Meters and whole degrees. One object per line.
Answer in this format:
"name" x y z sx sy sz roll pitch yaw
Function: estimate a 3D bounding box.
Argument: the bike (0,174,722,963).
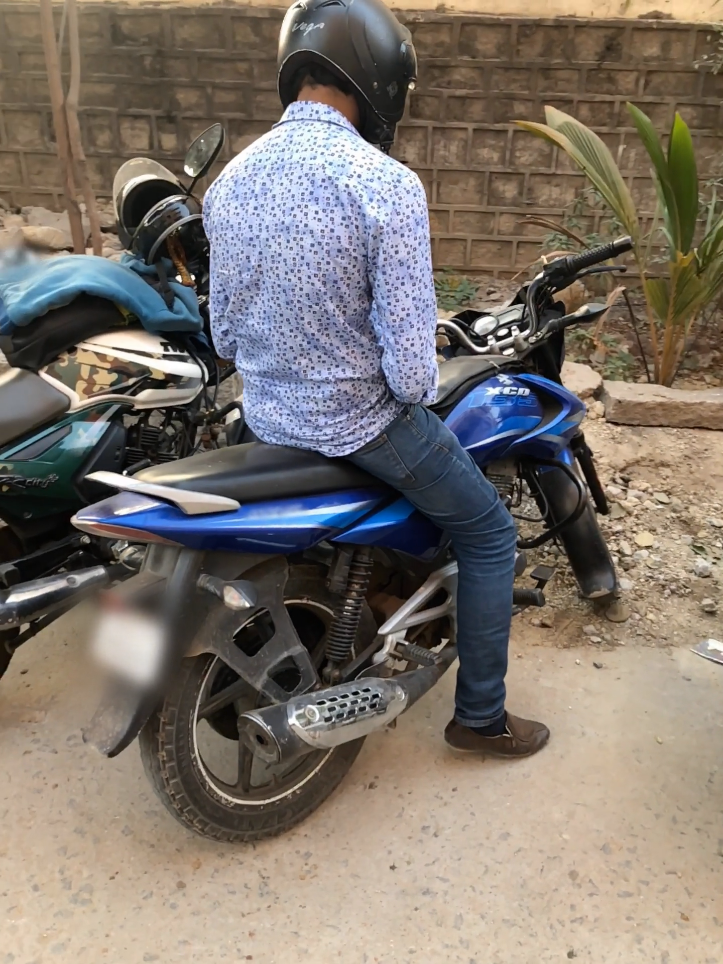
"bike" 0.119 -0.044 1.910 0.756 1.076 1.581 22 35 36
